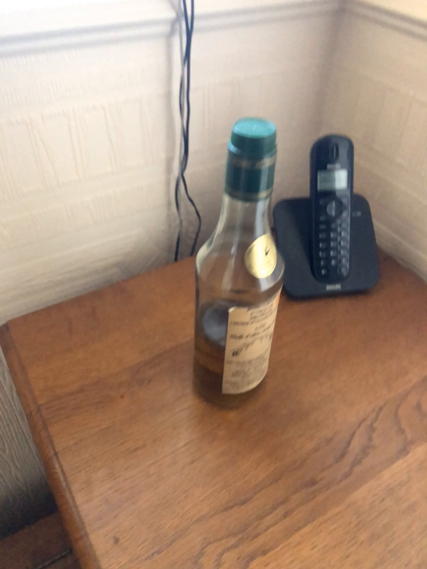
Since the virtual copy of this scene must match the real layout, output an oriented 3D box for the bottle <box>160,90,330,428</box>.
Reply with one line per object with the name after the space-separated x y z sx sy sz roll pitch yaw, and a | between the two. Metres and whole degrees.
0.013 -0.003 0.373 0.070 0.259 0.080 -21 48 -24 | bottle
